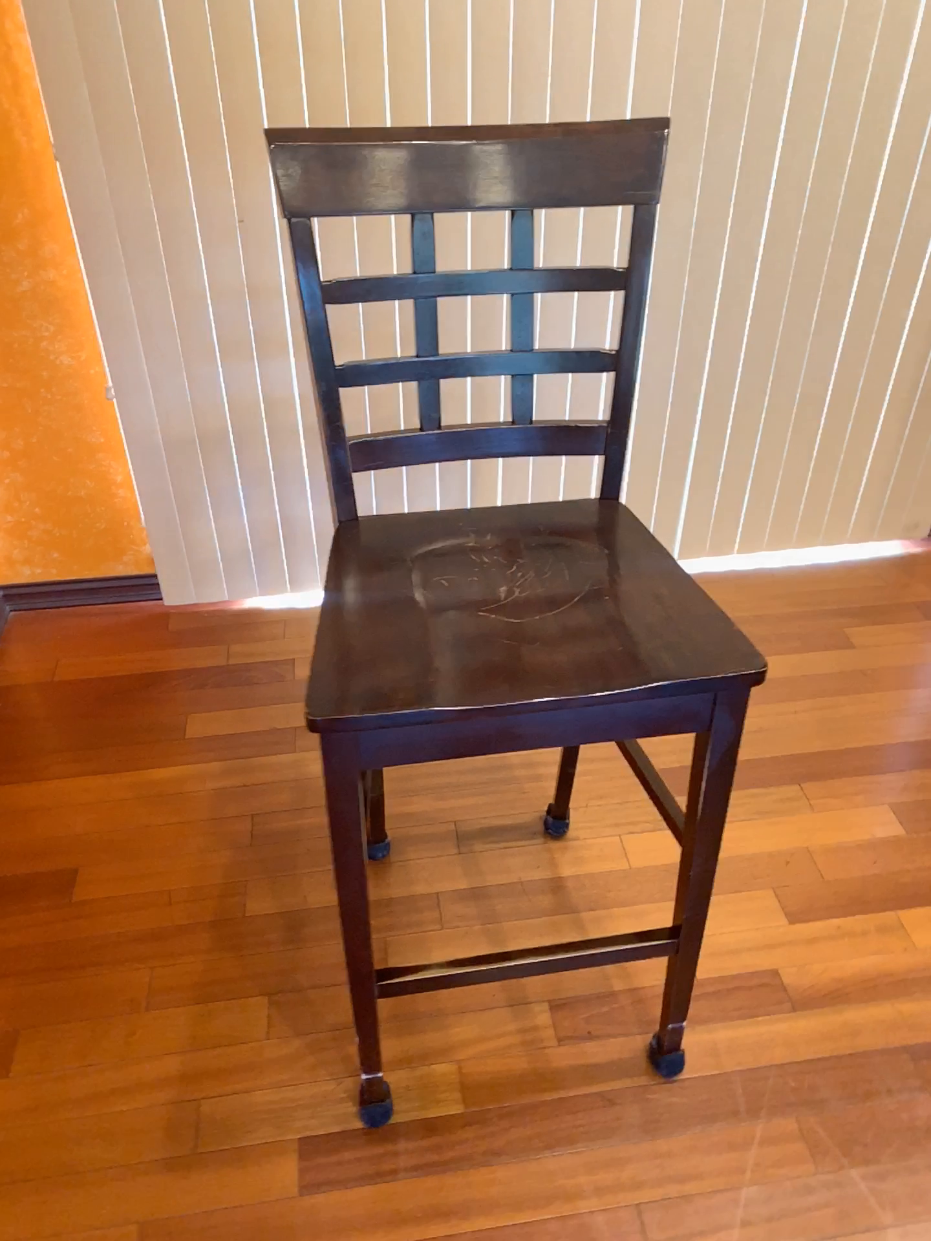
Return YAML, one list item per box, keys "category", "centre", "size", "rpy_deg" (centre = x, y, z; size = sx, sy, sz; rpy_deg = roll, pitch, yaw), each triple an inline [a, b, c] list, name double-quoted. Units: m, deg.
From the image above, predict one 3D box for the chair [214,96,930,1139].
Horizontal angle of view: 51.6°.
- category: "chair"
  centre: [0.069, 0.008, 1.098]
  size: [0.539, 0.987, 0.588]
  rpy_deg: [-6, 37, -8]
